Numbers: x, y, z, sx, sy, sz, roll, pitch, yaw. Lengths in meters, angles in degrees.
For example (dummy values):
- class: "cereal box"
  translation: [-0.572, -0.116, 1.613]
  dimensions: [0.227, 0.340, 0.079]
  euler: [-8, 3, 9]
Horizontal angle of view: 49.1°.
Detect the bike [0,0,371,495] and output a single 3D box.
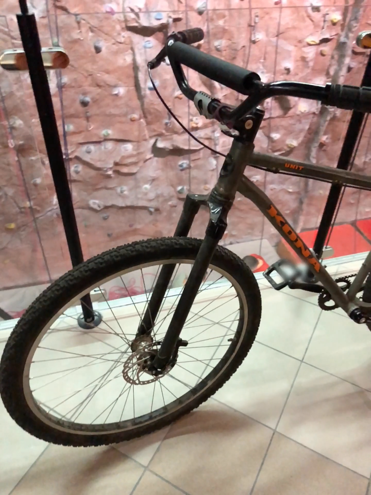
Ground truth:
- class: "bike"
  translation: [0.414, -0.055, 1.183]
  dimensions: [1.822, 1.099, 0.752]
  euler: [-11, 41, -18]
